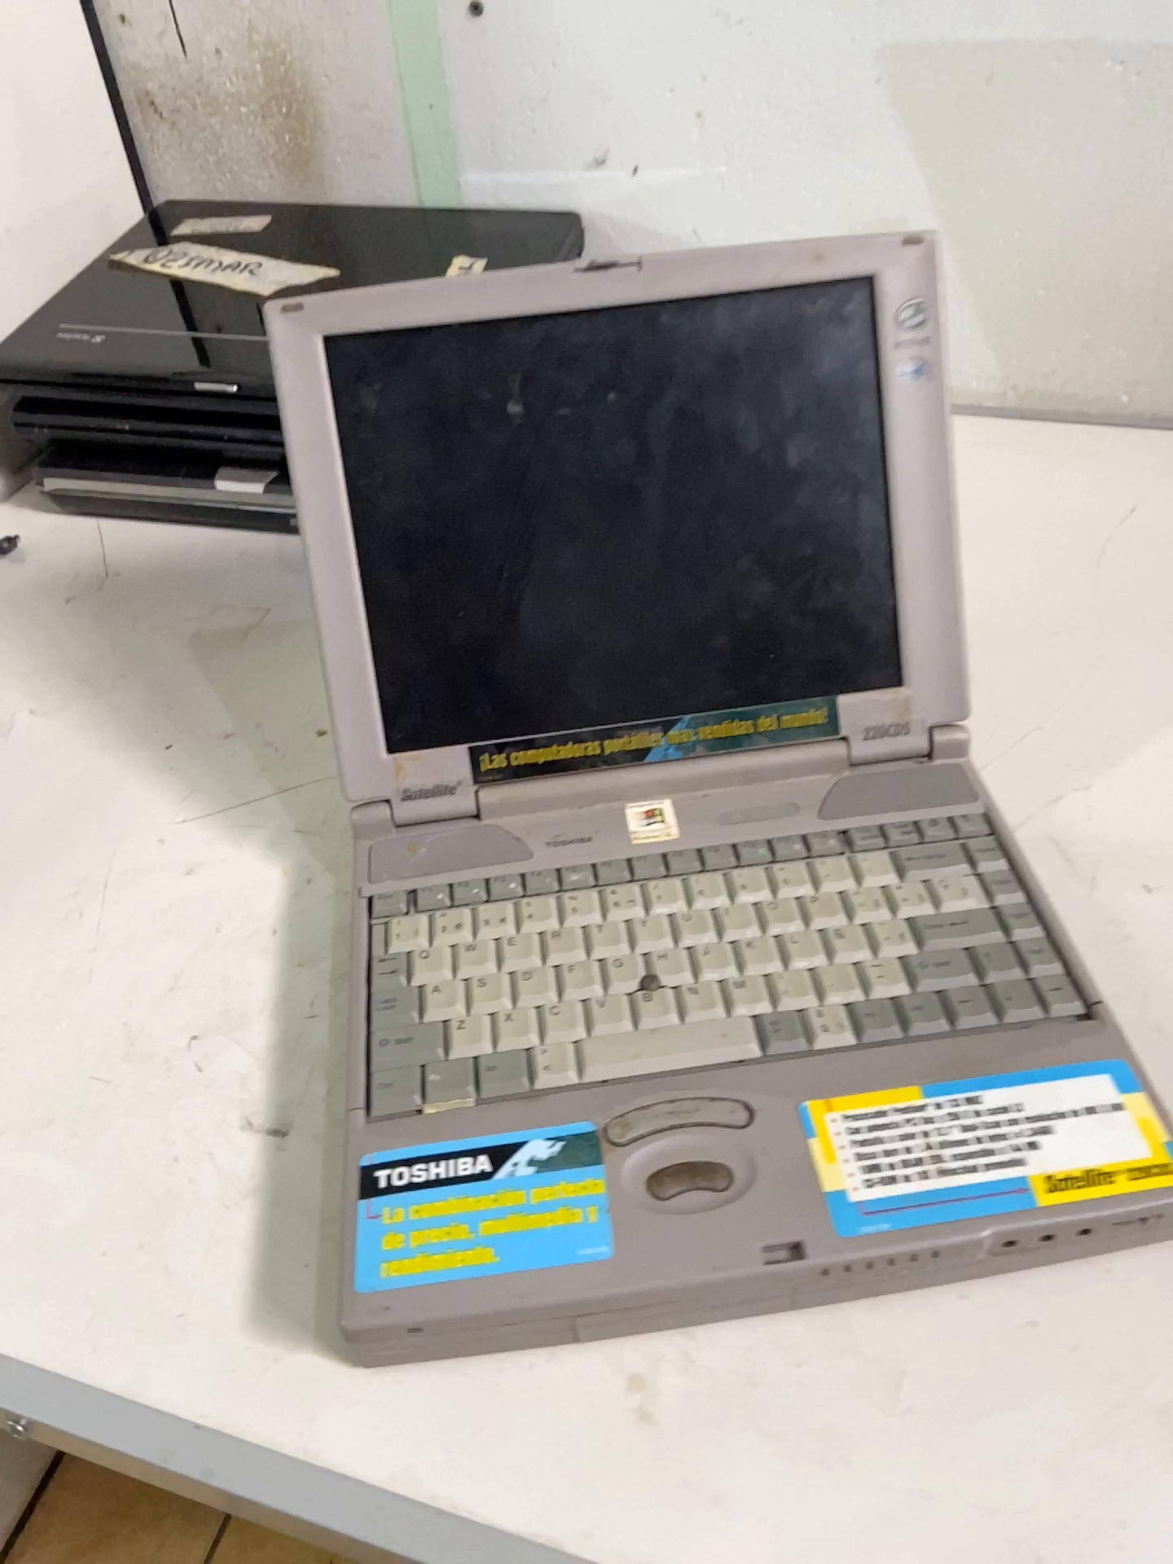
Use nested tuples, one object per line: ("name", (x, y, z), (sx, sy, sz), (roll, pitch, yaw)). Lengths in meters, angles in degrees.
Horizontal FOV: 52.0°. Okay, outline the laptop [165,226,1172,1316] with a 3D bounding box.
("laptop", (0.039, -0.036, 0.471), (0.301, 0.195, 0.359), (-8, 44, -2))
